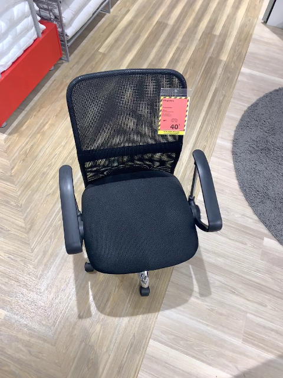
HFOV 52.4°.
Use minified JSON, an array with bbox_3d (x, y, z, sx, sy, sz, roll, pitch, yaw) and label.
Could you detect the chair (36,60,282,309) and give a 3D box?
[{"bbox_3d":[0.010,0.058,1.190,0.640,0.868,0.602,-6,60,-8],"label":"chair"}]
